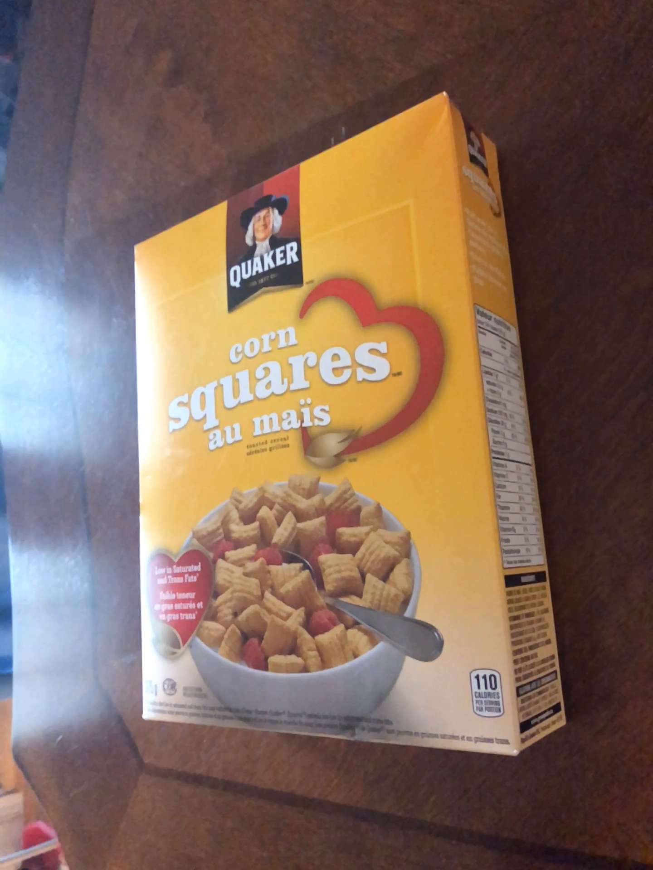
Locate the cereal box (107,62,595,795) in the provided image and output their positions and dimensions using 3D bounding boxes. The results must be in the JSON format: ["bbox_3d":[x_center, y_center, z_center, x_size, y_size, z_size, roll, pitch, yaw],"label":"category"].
[{"bbox_3d":[-0.011,0.005,0.343,0.221,0.050,0.270,-11,77,34],"label":"cereal box"}]
